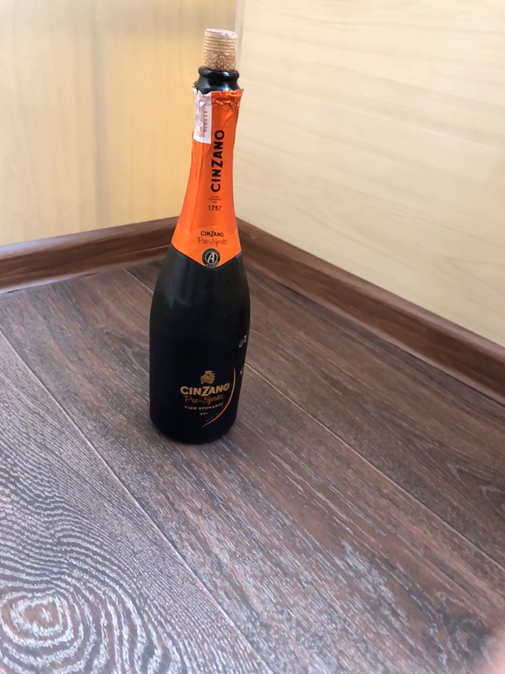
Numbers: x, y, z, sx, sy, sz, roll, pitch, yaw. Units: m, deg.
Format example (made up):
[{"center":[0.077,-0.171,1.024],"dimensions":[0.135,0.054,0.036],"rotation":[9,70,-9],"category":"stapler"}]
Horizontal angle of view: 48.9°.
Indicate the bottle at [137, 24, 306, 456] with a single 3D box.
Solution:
[{"center":[-0.042,-0.065,0.461],"dimensions":[0.092,0.328,0.101],"rotation":[5,30,-3],"category":"bottle"}]
